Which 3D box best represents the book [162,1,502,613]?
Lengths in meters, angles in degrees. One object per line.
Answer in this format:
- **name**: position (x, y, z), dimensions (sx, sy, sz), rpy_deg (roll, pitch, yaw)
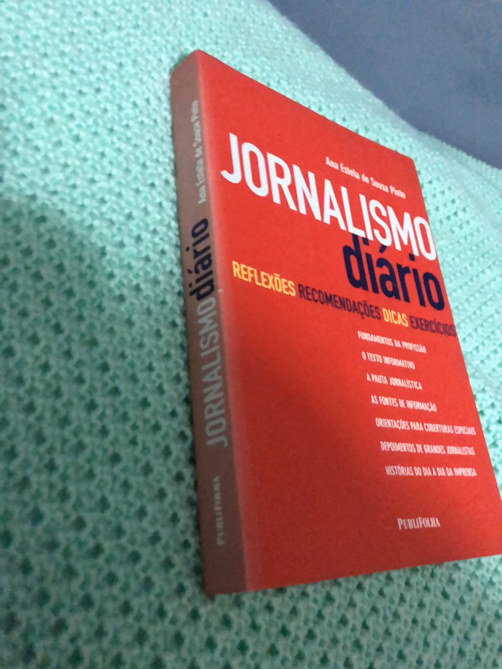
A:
- **book**: position (0.043, -0.020, 0.259), dimensions (0.161, 0.030, 0.250), rpy_deg (10, 62, -33)
